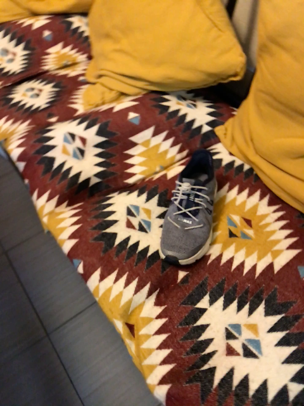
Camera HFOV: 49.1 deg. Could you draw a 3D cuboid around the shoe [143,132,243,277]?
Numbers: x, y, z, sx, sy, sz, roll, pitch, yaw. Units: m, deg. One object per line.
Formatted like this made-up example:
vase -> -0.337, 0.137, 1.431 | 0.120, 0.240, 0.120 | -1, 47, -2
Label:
shoe -> 0.070, -0.006, 0.531 | 0.094, 0.074, 0.213 | 16, 56, 13
